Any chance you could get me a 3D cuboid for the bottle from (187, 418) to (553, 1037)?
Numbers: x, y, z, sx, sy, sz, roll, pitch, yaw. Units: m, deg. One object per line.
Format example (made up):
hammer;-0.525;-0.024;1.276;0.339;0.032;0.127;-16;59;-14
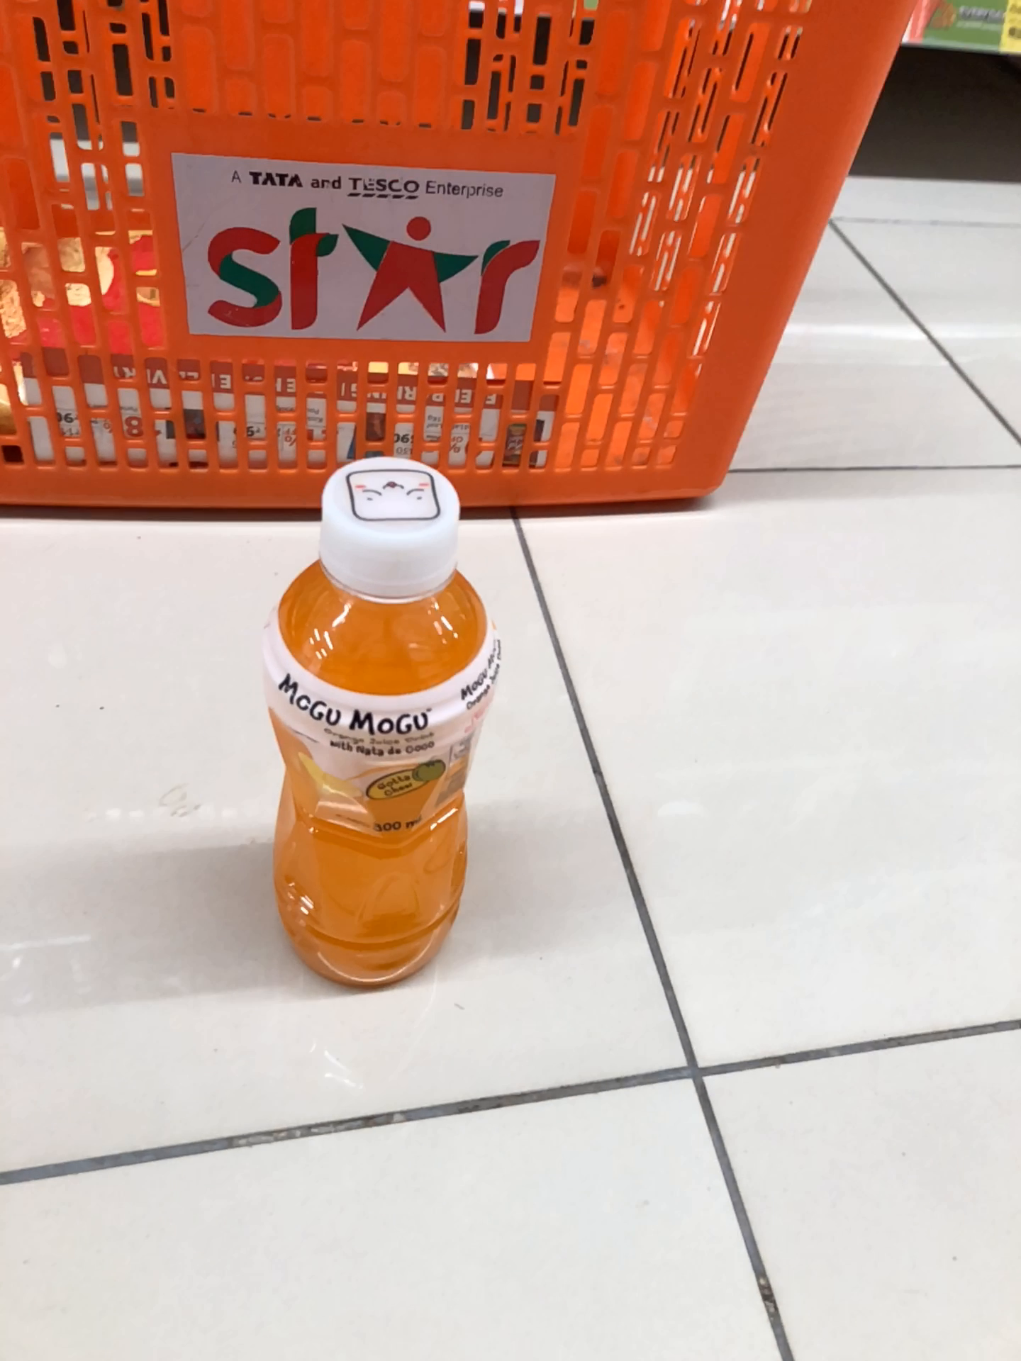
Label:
bottle;-0.036;0.022;0.288;0.060;0.159;0.050;17;46;7
